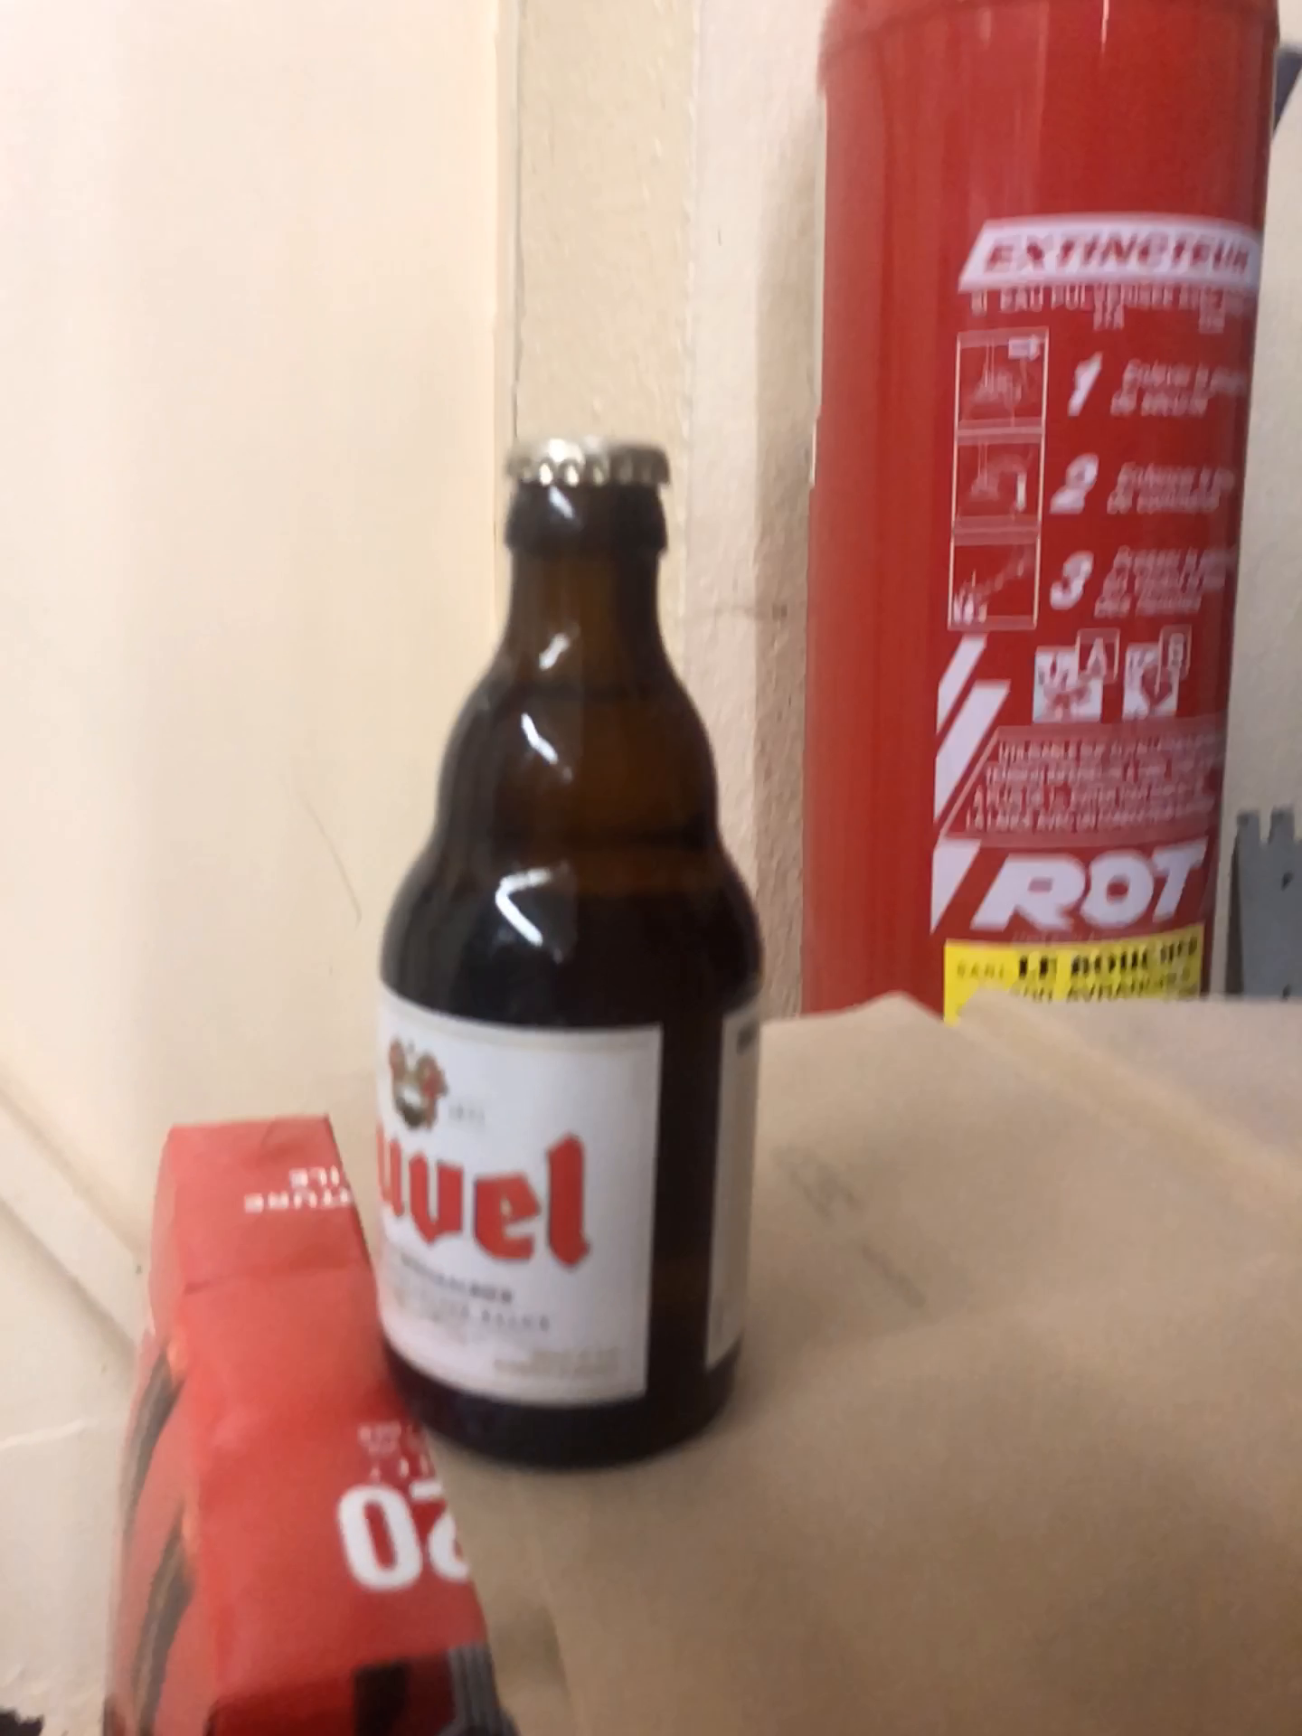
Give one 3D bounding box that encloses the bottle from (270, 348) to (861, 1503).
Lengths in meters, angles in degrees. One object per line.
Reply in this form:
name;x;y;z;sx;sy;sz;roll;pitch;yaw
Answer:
bottle;-0.019;0.005;0.257;0.070;0.170;0.080;-5;11;-34
